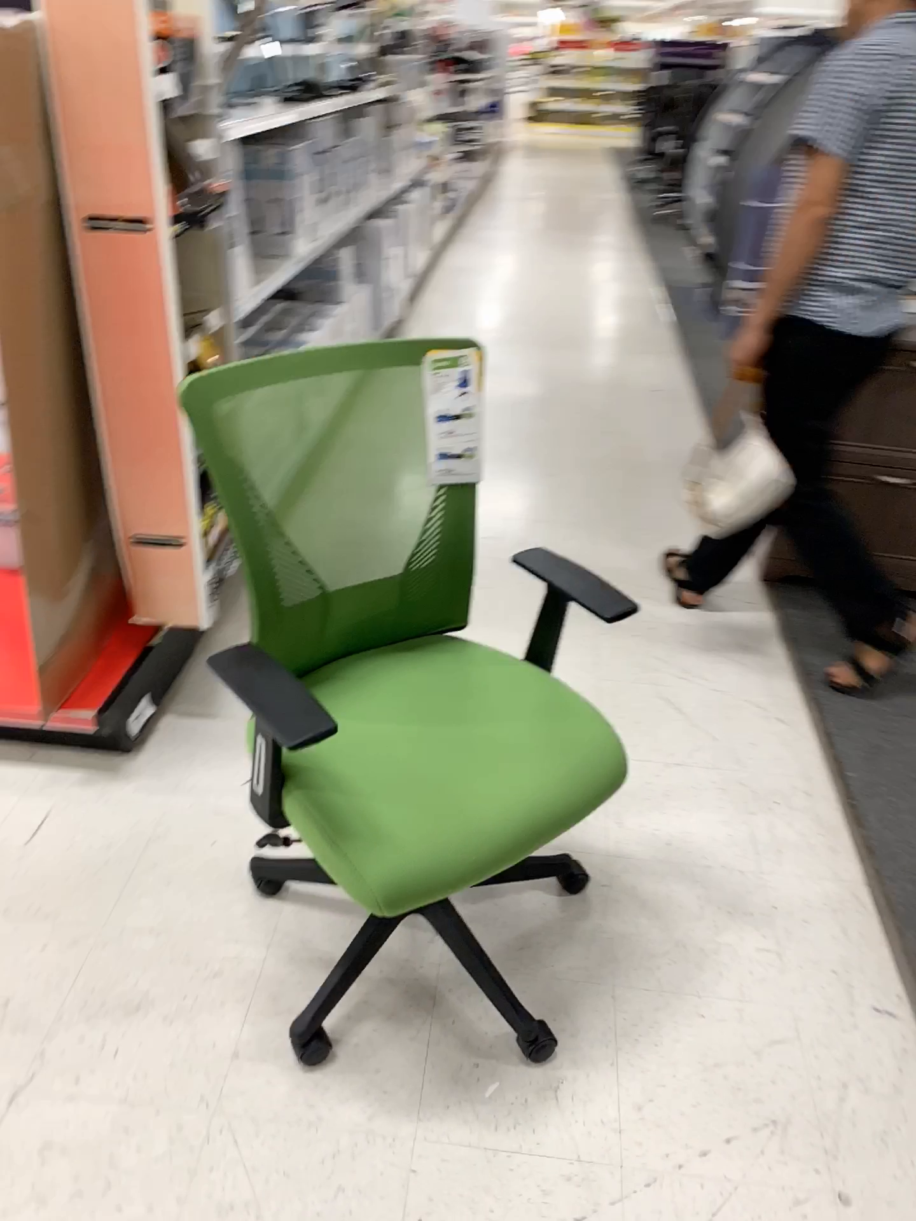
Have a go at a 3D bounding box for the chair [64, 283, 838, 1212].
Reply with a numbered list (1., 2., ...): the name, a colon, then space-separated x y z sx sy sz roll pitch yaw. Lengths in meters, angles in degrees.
1. chair: -0.046 0.130 1.387 0.671 0.995 0.673 -20 38 -33
